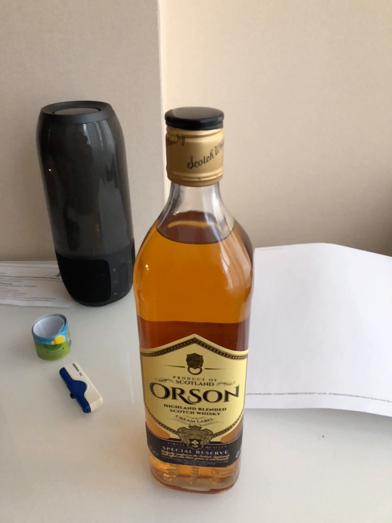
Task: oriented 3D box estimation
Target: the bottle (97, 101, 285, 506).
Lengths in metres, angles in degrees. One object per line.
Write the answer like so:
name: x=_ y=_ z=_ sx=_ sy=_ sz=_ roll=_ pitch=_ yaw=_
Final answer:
bottle: x=0.002 y=0.041 z=0.277 sx=0.080 sy=0.258 sz=0.070 roll=4 pitch=30 yaw=7
